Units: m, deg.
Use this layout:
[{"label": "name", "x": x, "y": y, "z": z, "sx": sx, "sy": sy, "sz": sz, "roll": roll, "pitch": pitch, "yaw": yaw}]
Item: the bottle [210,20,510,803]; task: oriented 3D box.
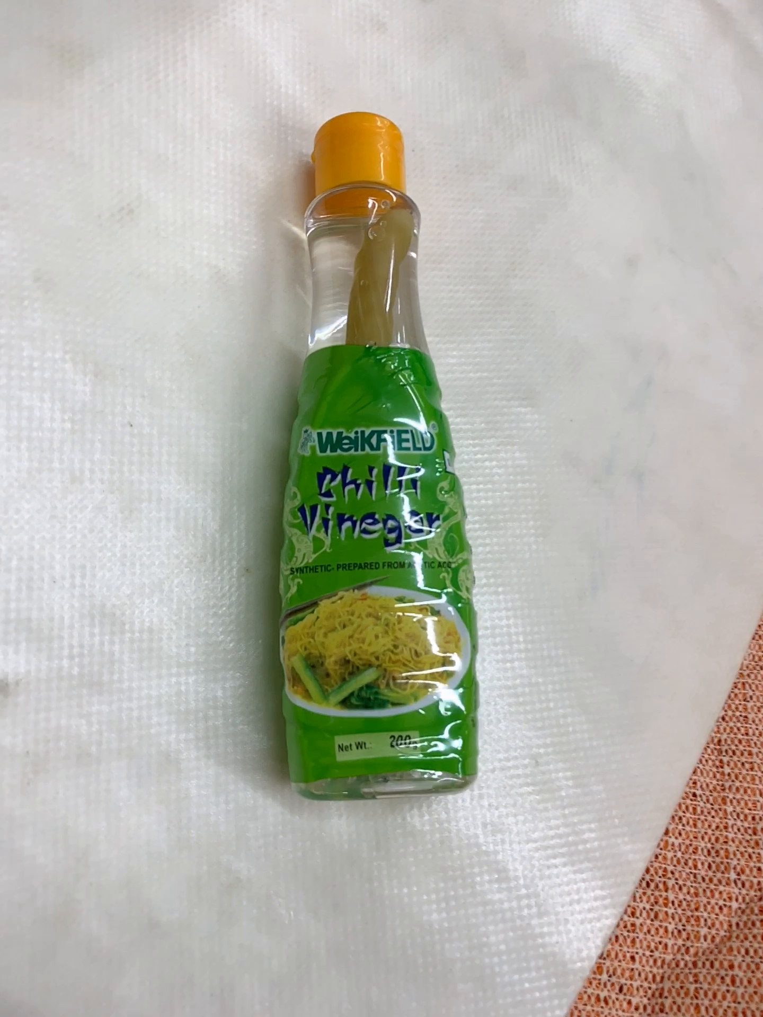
[{"label": "bottle", "x": -0.007, "y": -0.025, "z": 0.200, "sx": 0.060, "sy": 0.040, "sz": 0.180, "roll": -3, "pitch": 84, "yaw": -3}]
